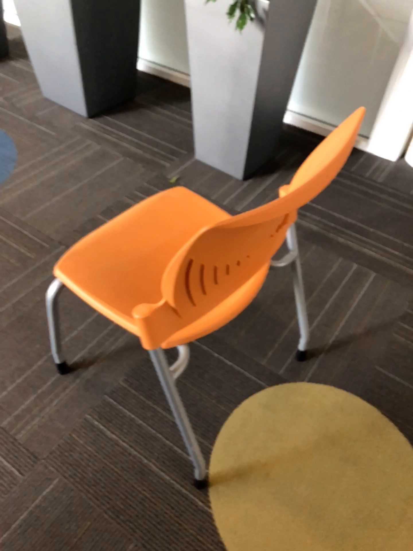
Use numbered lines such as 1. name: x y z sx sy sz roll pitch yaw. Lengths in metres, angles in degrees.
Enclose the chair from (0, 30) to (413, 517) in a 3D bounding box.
1. chair: -0.050 -0.029 1.094 0.611 0.747 0.642 30 50 23
